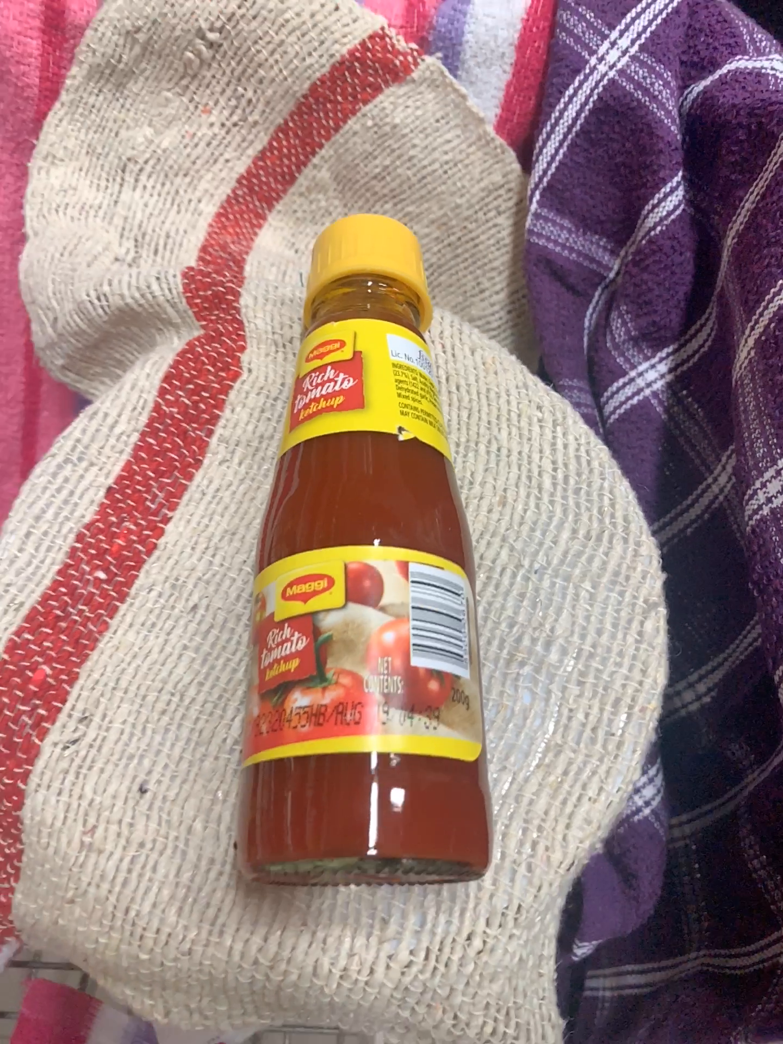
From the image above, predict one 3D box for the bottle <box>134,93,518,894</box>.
[{"bbox_3d":[-0.012,-0.010,0.186,0.050,0.050,0.170,-15,60,26],"label":"bottle"}]
